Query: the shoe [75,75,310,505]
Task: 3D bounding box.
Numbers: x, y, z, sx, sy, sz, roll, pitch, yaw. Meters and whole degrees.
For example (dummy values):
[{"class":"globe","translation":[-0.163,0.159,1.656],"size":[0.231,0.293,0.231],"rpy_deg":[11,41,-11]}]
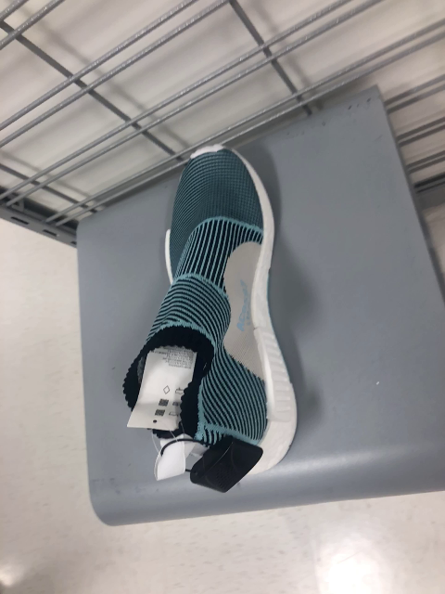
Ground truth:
[{"class":"shoe","translation":[-0.029,0.001,0.414],"size":[0.120,0.130,0.300],"rpy_deg":[-15,71,26]}]
